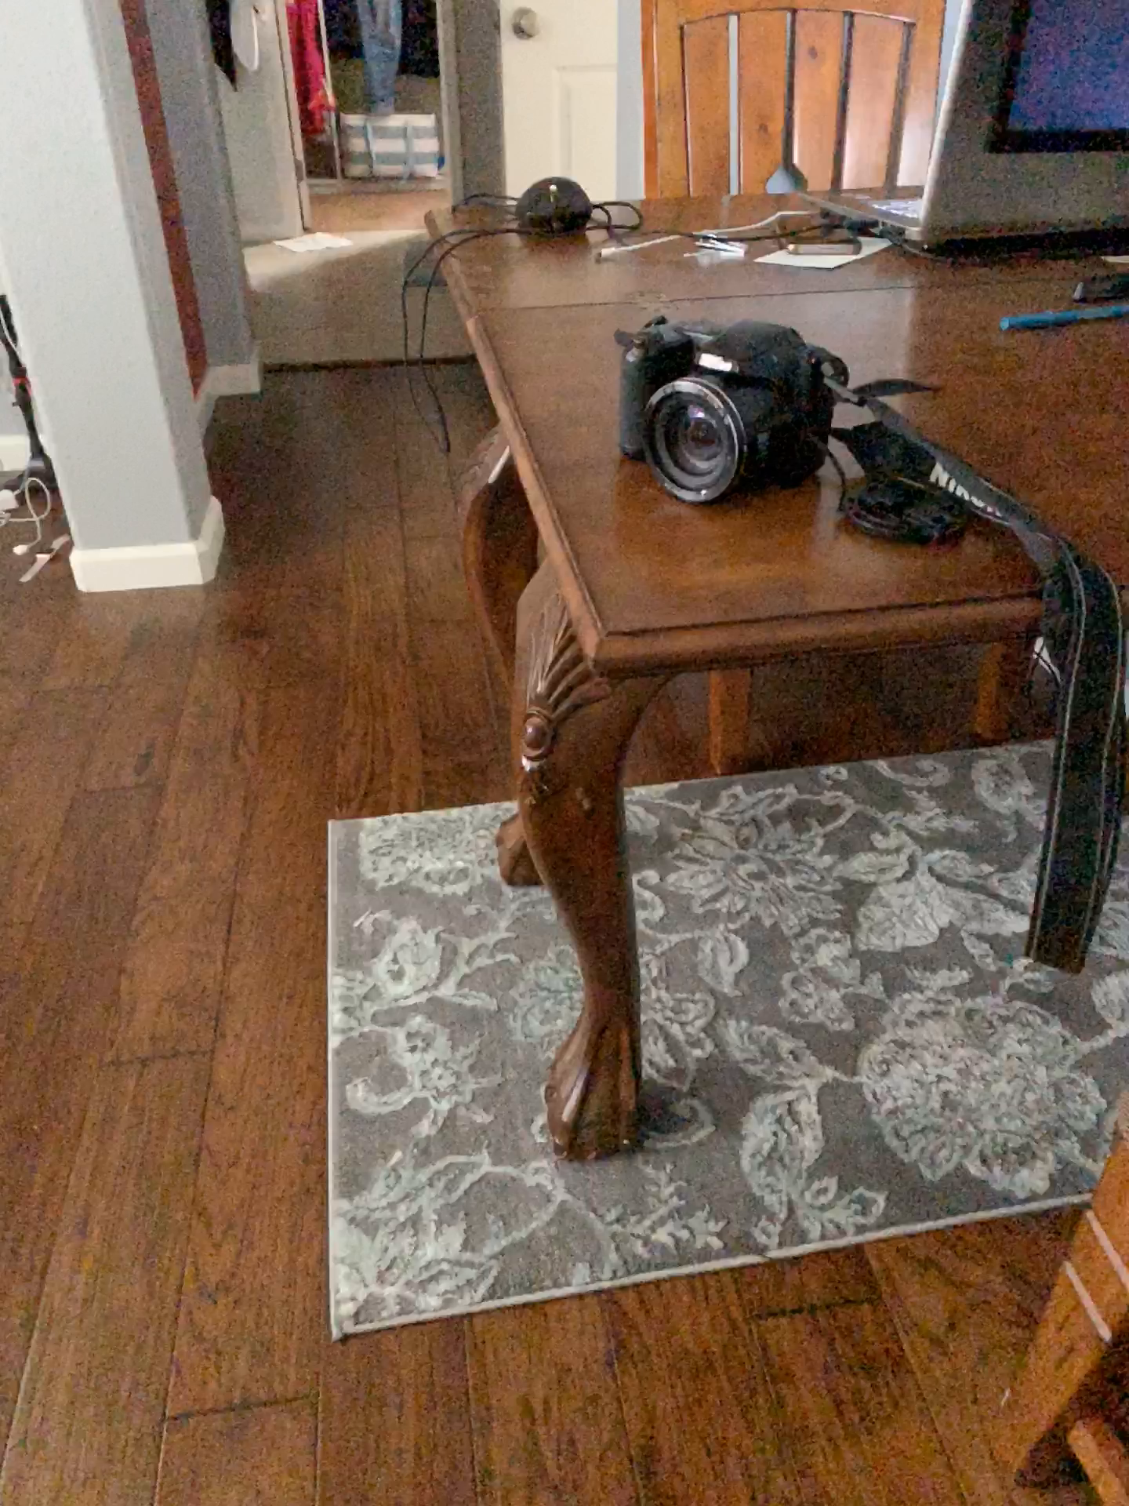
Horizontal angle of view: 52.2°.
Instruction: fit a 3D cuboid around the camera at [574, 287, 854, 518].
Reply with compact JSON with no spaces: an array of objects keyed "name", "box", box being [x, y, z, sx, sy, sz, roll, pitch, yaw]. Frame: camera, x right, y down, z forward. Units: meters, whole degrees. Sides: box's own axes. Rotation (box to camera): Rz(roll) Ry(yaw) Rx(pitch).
[{"name":"camera","box":[0.076,-0.190,0.612,0.110,0.079,0.090,28,43,35]}]
